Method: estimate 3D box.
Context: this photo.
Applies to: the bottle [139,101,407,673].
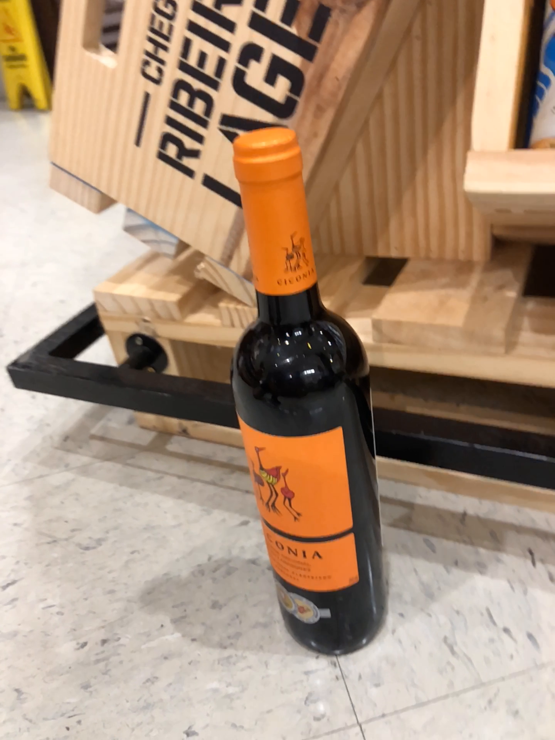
[{"bbox_3d":[0.015,0.028,0.344,0.080,0.317,0.070,19,42,37],"label":"bottle"}]
